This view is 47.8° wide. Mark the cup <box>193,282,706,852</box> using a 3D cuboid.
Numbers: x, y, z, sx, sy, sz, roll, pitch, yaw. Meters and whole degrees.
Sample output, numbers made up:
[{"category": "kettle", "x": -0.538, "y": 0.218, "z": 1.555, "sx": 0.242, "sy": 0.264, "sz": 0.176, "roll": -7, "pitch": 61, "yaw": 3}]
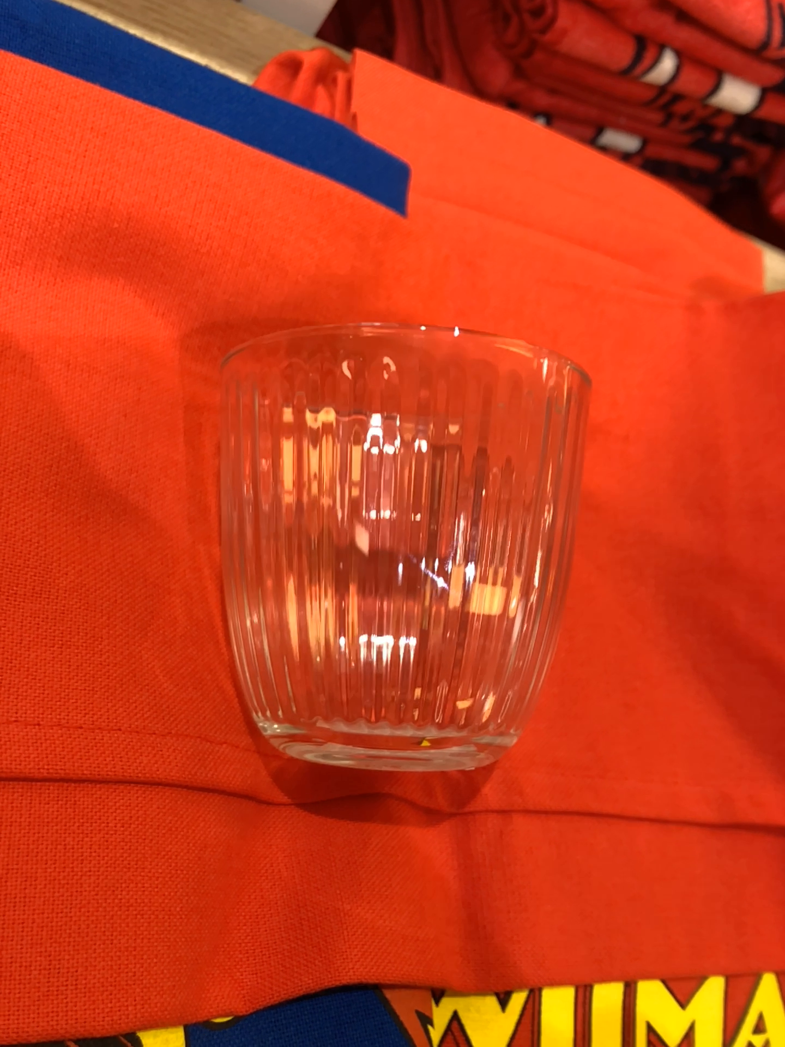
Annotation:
[{"category": "cup", "x": 0.011, "y": 0.011, "z": 0.185, "sx": 0.080, "sy": 0.060, "sz": 0.090, "roll": 8, "pitch": 84, "yaw": -29}]
